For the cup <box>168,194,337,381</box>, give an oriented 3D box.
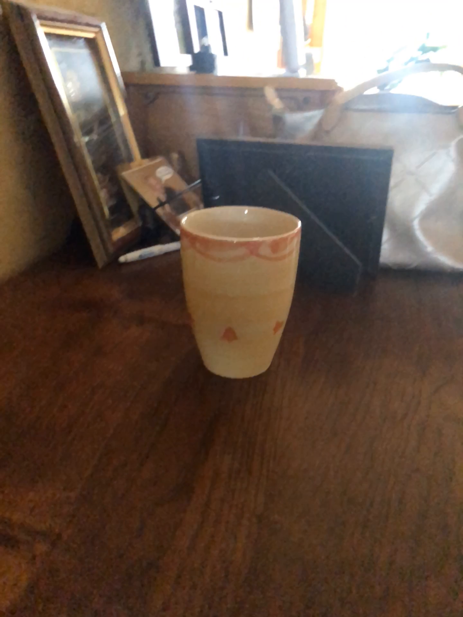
[{"bbox_3d":[0.007,-0.024,0.393,0.100,0.099,0.121,-3,26,-10],"label":"cup"}]
